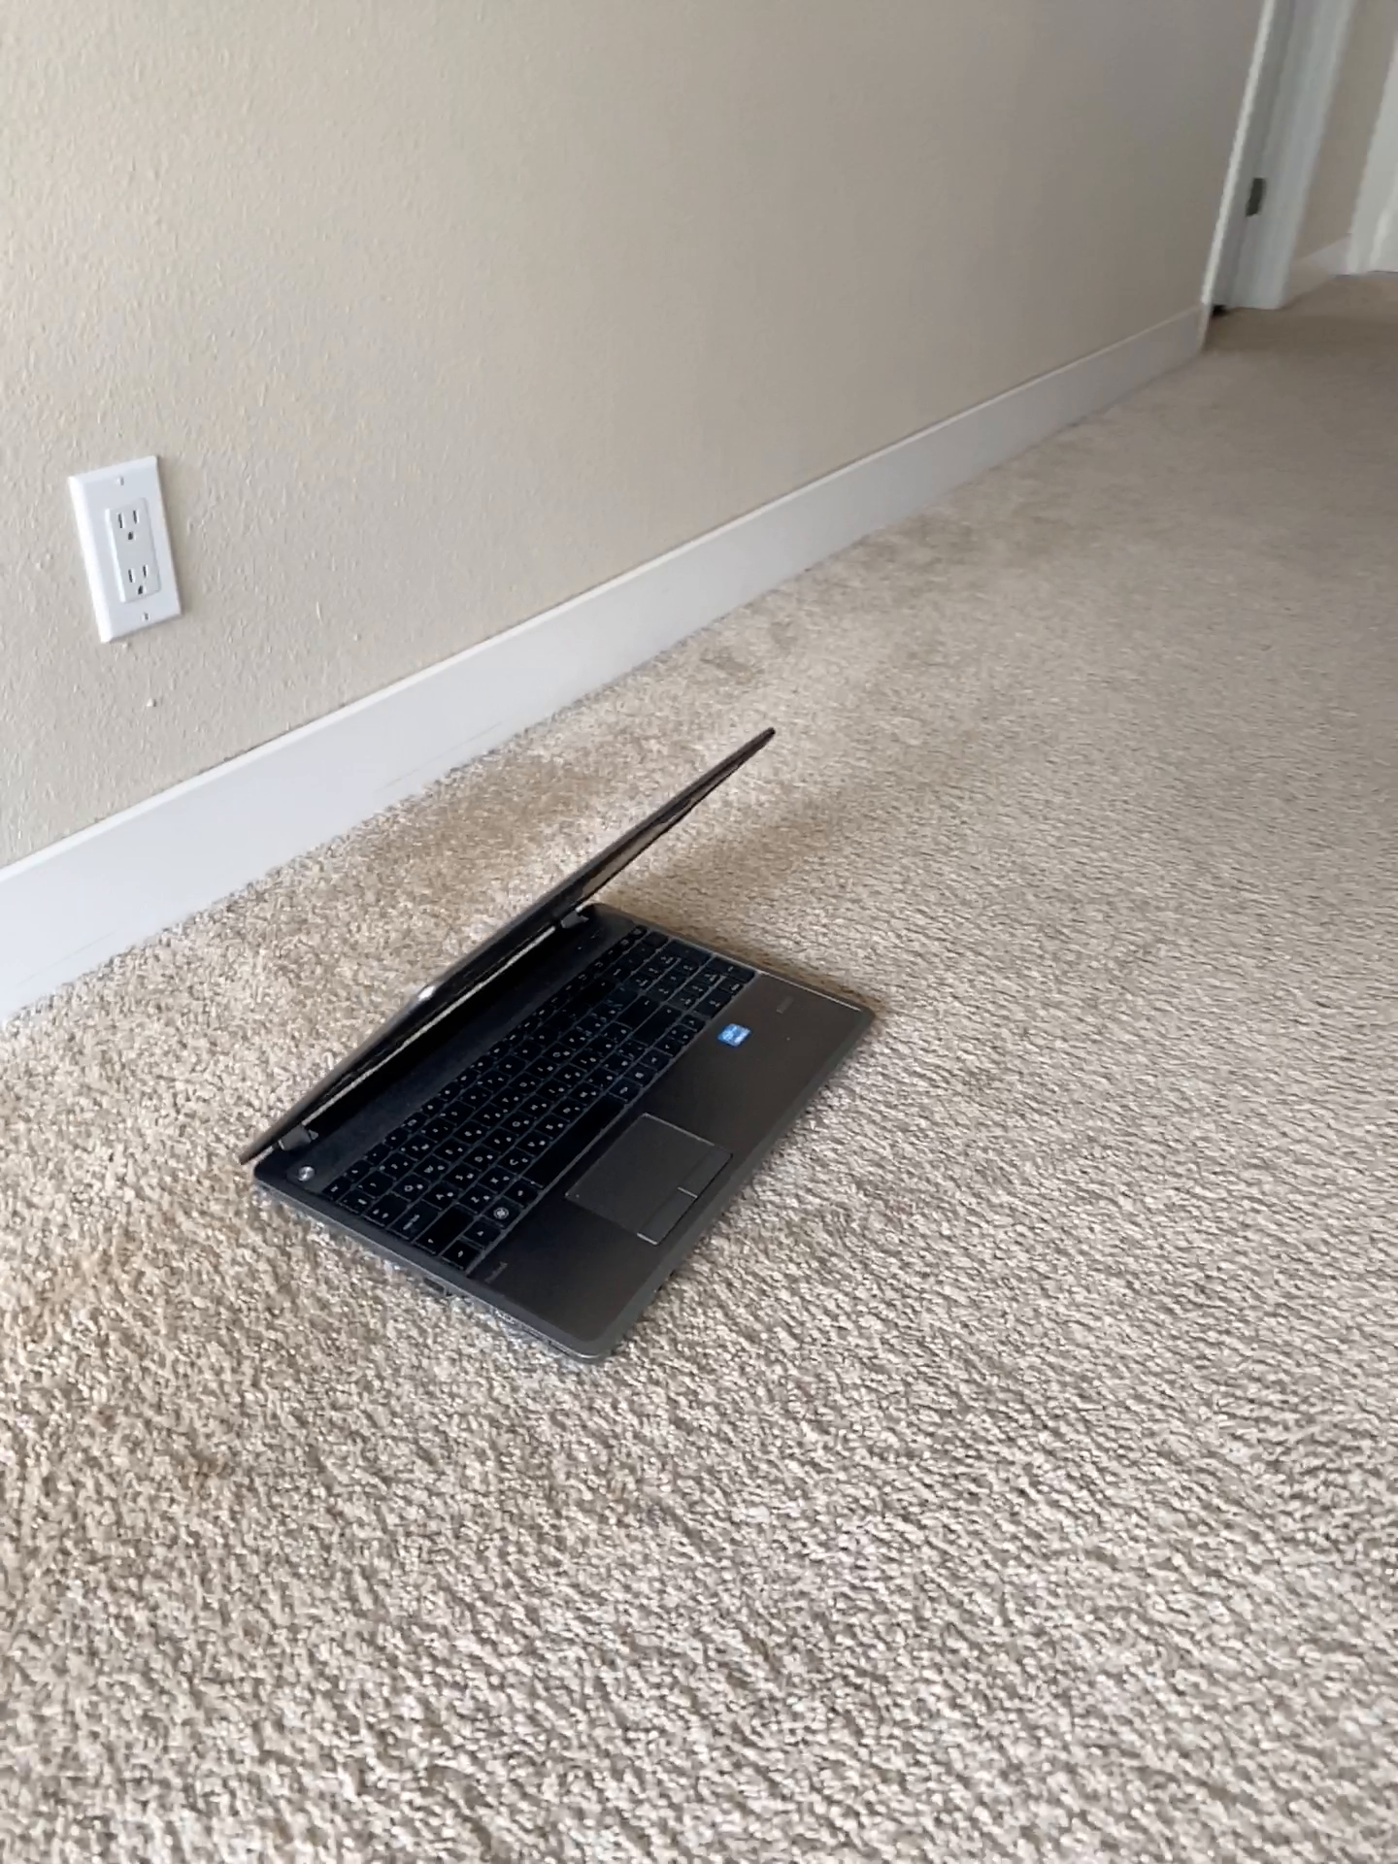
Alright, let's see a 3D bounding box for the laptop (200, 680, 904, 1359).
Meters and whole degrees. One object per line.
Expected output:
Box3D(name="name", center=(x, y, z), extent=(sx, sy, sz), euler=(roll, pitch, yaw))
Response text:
Box3D(name="laptop", center=(-0.068, 0.023, 0.893), extent=(0.249, 0.189, 0.371), euler=(20, 36, 22))
